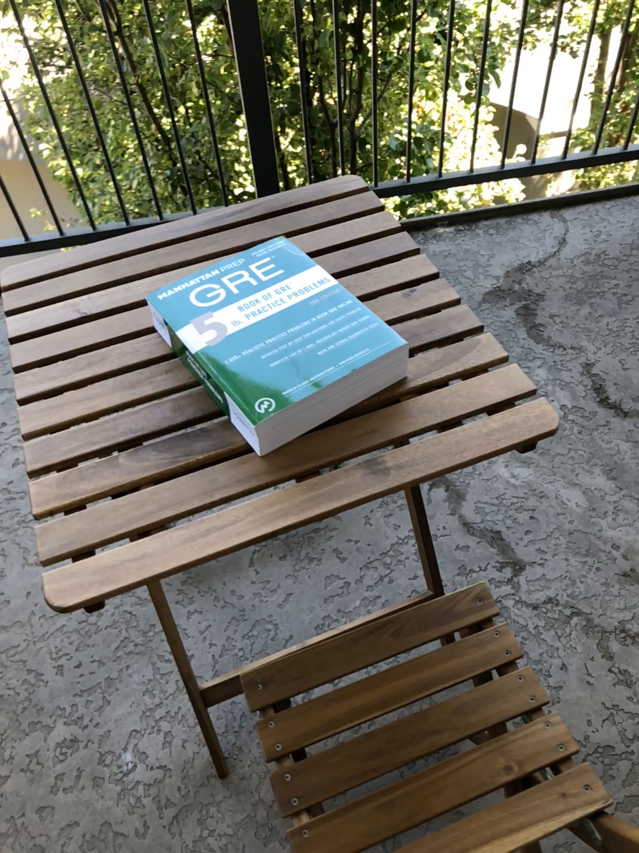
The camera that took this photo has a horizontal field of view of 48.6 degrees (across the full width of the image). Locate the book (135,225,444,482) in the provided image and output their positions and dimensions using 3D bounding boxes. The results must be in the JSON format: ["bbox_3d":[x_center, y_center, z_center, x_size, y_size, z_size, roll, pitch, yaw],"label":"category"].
[{"bbox_3d":[-0.045,-0.111,0.888,0.250,0.060,0.311,-30,54,-19],"label":"book"}]
